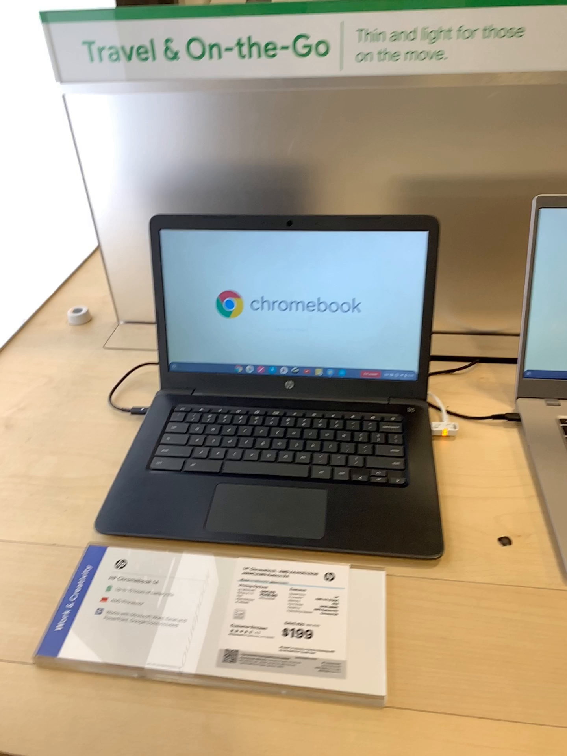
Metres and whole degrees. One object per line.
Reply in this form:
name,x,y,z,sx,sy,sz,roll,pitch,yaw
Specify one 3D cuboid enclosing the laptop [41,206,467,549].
laptop,-0.006,-0.021,0.599,0.319,0.198,0.293,2,37,9
